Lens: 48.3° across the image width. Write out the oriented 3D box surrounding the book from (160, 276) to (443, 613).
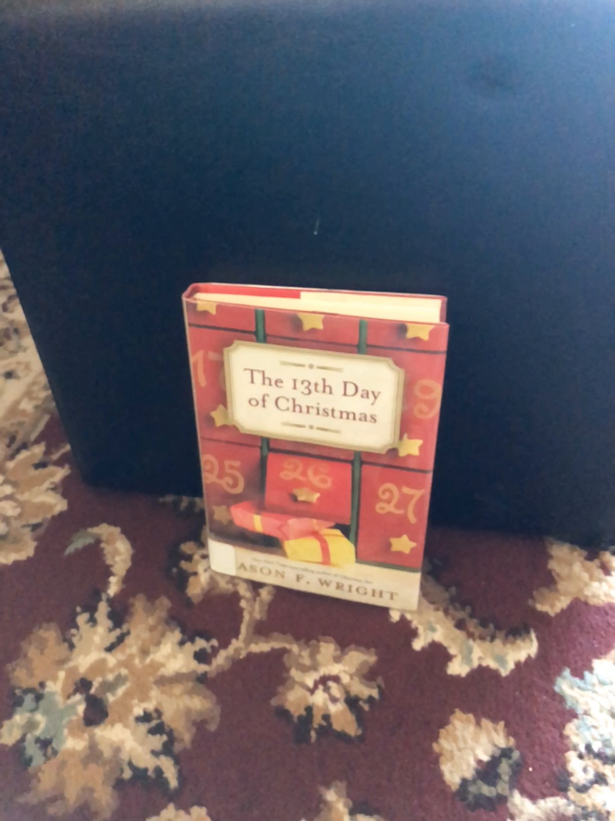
[{"bbox_3d":[-0.001,0.025,0.395,0.138,0.190,0.040,5,31,10],"label":"book"}]
